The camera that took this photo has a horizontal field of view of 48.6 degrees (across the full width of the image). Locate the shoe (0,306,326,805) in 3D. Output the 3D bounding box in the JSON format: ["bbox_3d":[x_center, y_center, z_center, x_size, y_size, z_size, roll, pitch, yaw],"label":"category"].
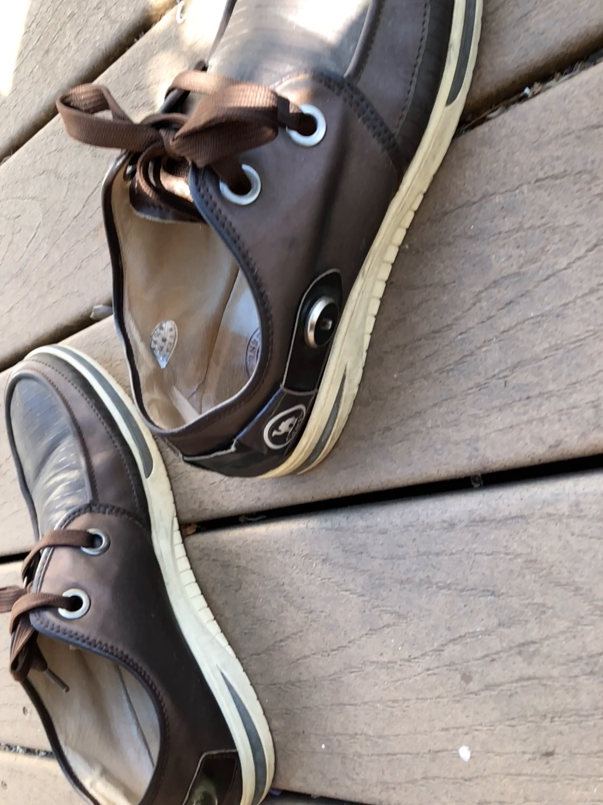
[{"bbox_3d":[-0.126,0.105,0.372,0.110,0.116,0.302,-39,69,32],"label":"shoe"}]

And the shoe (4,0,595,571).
[{"bbox_3d":[-0.012,-0.103,0.273,0.110,0.116,0.304,29,109,33],"label":"shoe"}]
